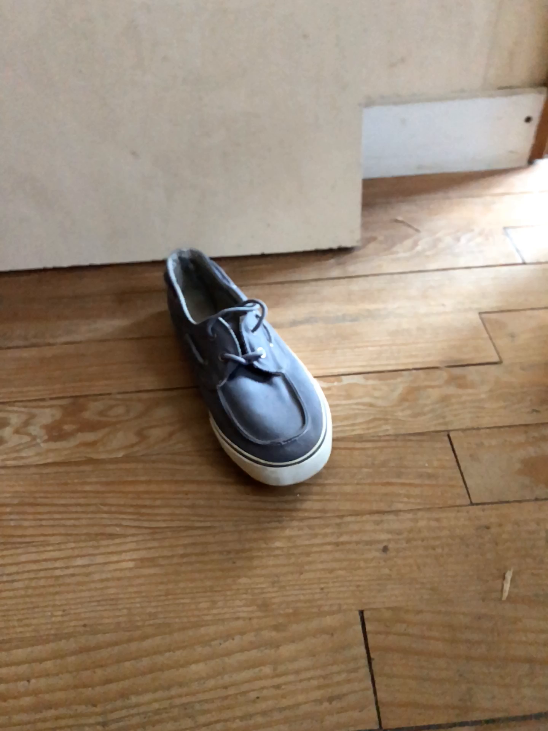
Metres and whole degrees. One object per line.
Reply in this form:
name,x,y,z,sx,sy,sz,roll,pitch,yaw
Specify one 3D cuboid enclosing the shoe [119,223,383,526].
shoe,-0.032,-0.012,0.502,0.100,0.060,0.271,-21,49,-18
